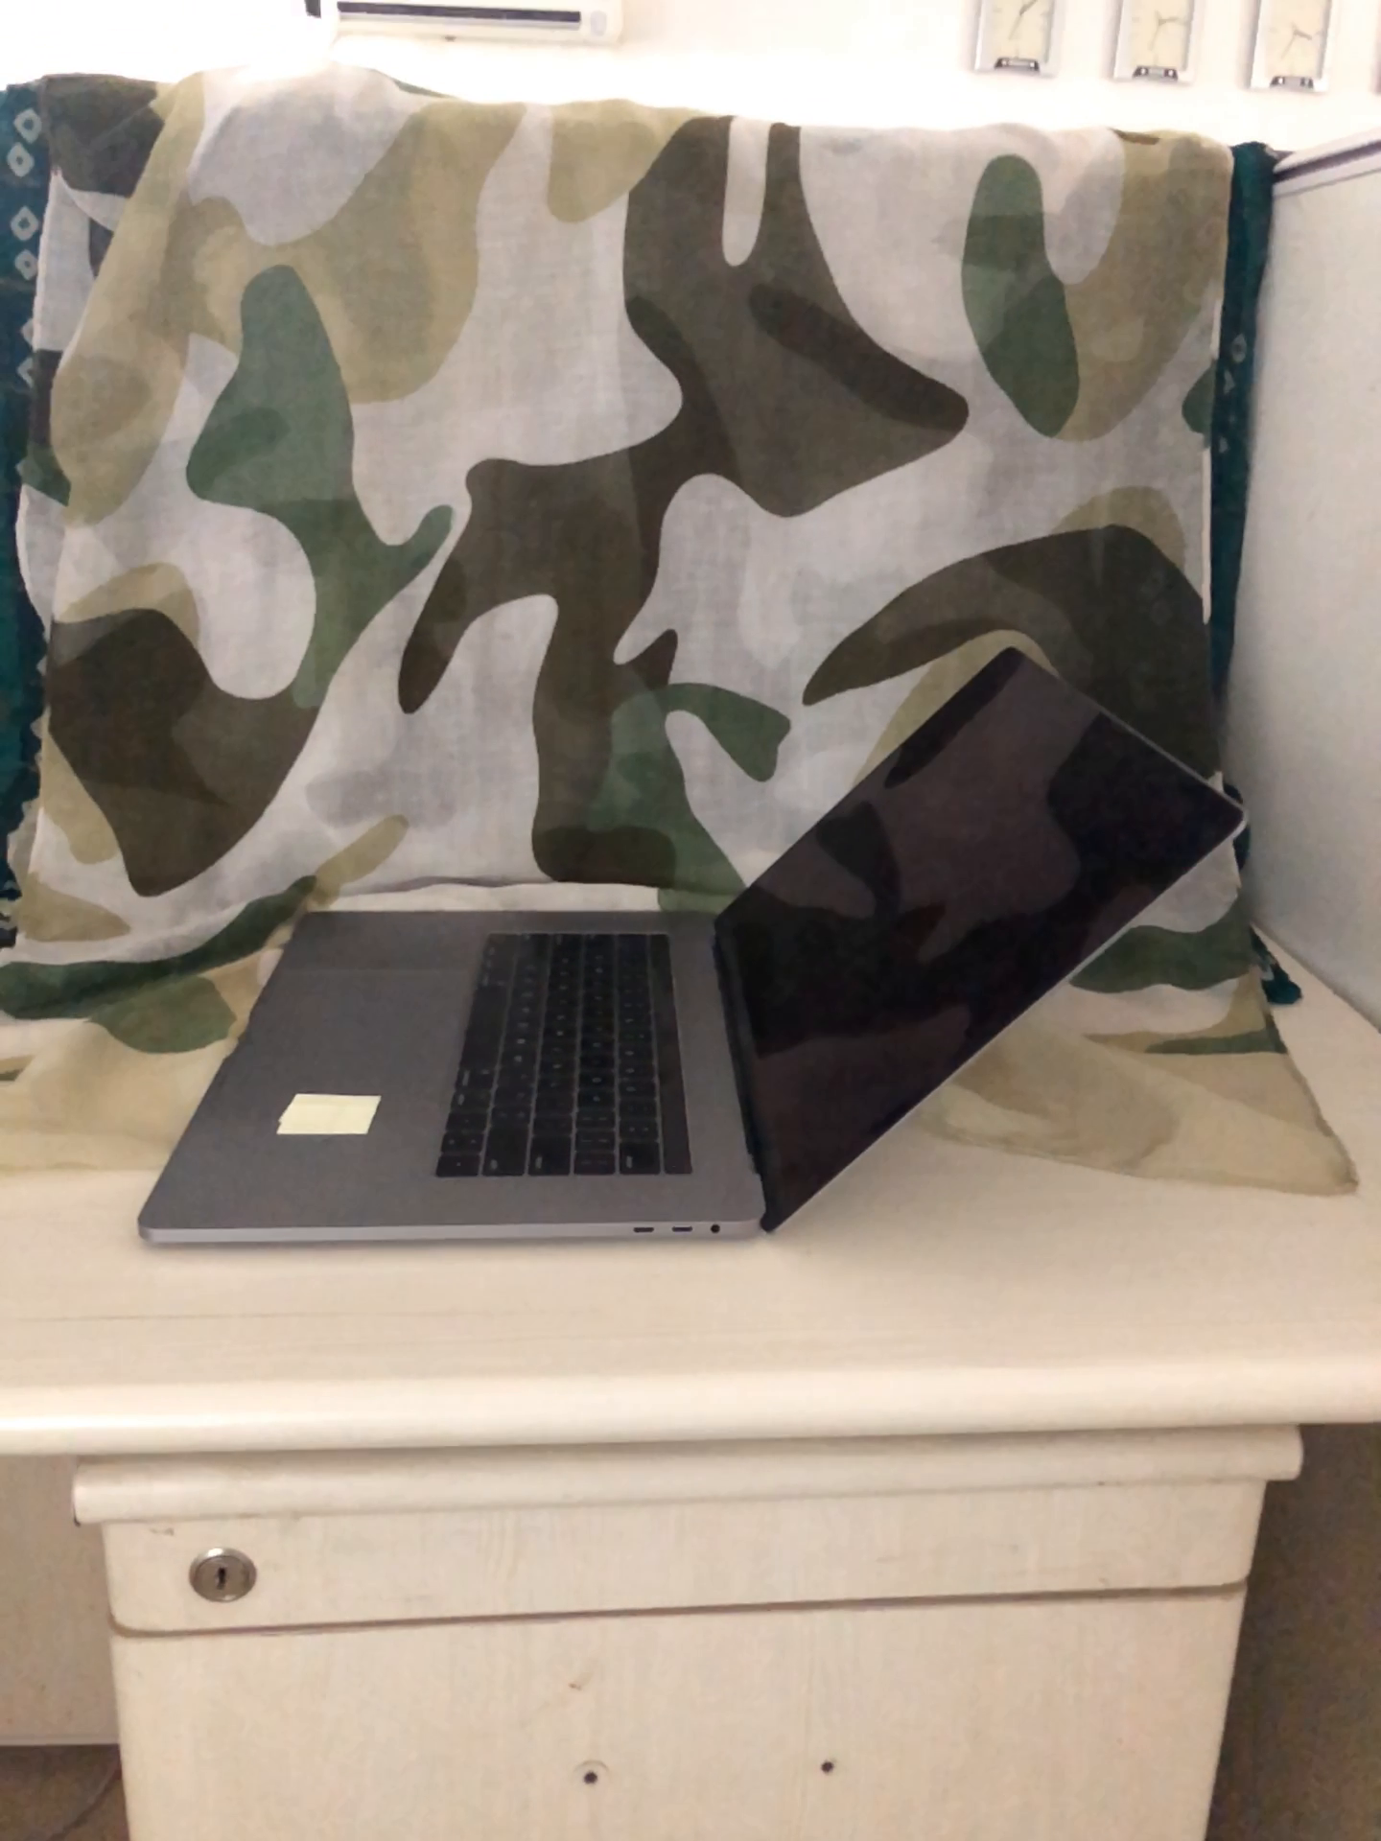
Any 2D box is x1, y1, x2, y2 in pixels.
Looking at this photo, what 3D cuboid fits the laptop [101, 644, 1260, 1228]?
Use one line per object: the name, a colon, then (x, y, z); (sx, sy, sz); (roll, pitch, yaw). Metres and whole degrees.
laptop: (-0.013, -0.019, 0.713); (0.402, 0.166, 0.342); (0, 19, -3)
